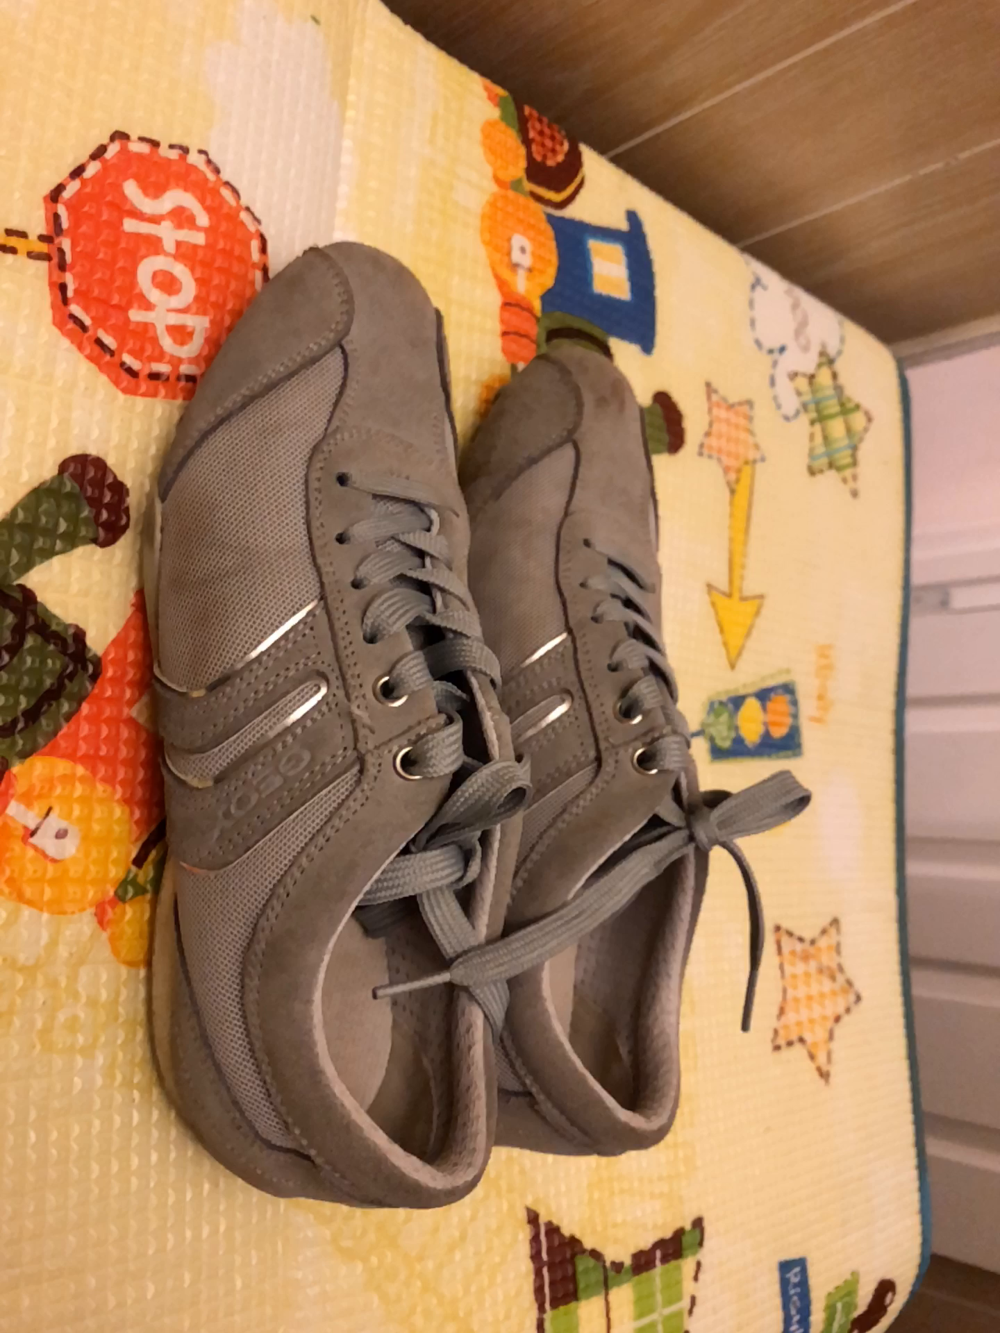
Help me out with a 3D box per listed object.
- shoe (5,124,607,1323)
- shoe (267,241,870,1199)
[{"bbox_3d":[-0.050,0.012,0.287,0.090,0.119,0.230,8,81,-43],"label":"shoe"},{"bbox_3d":[0.024,0.017,0.332,0.090,0.119,0.230,21,72,-41],"label":"shoe"}]
